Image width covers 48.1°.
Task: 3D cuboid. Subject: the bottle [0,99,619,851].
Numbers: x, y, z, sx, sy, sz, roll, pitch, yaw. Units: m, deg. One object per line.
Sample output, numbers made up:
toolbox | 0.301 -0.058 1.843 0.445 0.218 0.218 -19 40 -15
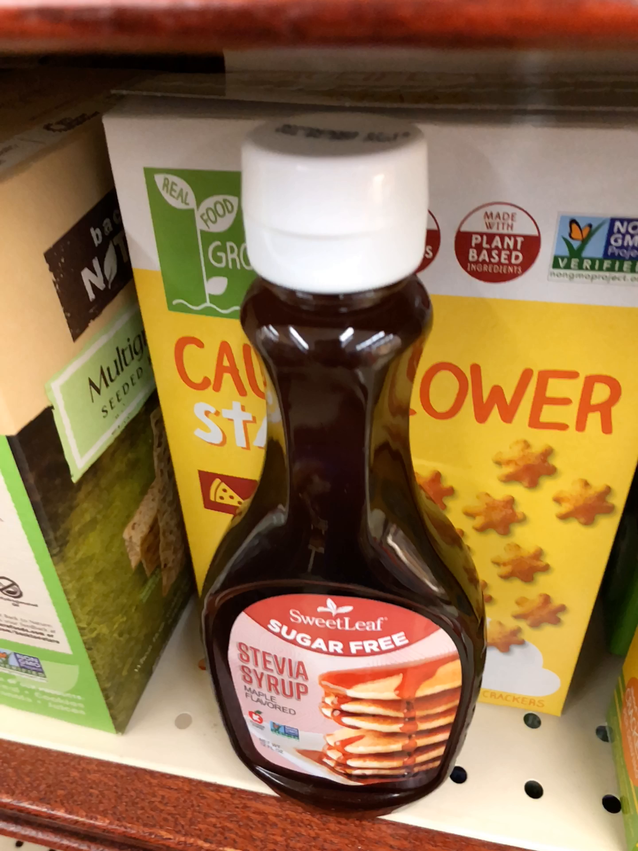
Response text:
bottle | 0.002 0.034 0.187 0.092 0.211 0.051 3 38 7
